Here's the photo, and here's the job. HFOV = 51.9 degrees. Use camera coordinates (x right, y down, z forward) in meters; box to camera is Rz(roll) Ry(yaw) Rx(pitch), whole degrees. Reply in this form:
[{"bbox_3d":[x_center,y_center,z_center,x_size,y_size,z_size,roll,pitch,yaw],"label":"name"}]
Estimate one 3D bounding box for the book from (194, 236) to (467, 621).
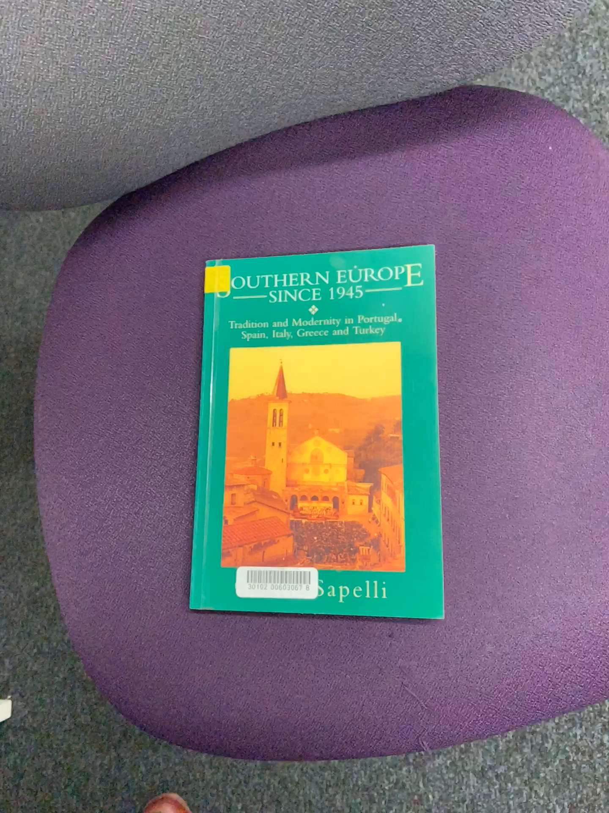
[{"bbox_3d":[0.014,0.010,0.379,0.153,0.020,0.221,-2,79,10],"label":"book"}]
